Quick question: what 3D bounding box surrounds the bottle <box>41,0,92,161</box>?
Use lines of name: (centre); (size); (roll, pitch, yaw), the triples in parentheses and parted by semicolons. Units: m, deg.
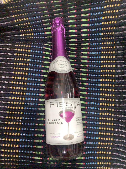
bottle: (-0.003, -0.024, 0.299); (0.080, 0.080, 0.330); (-3, 76, -4)
